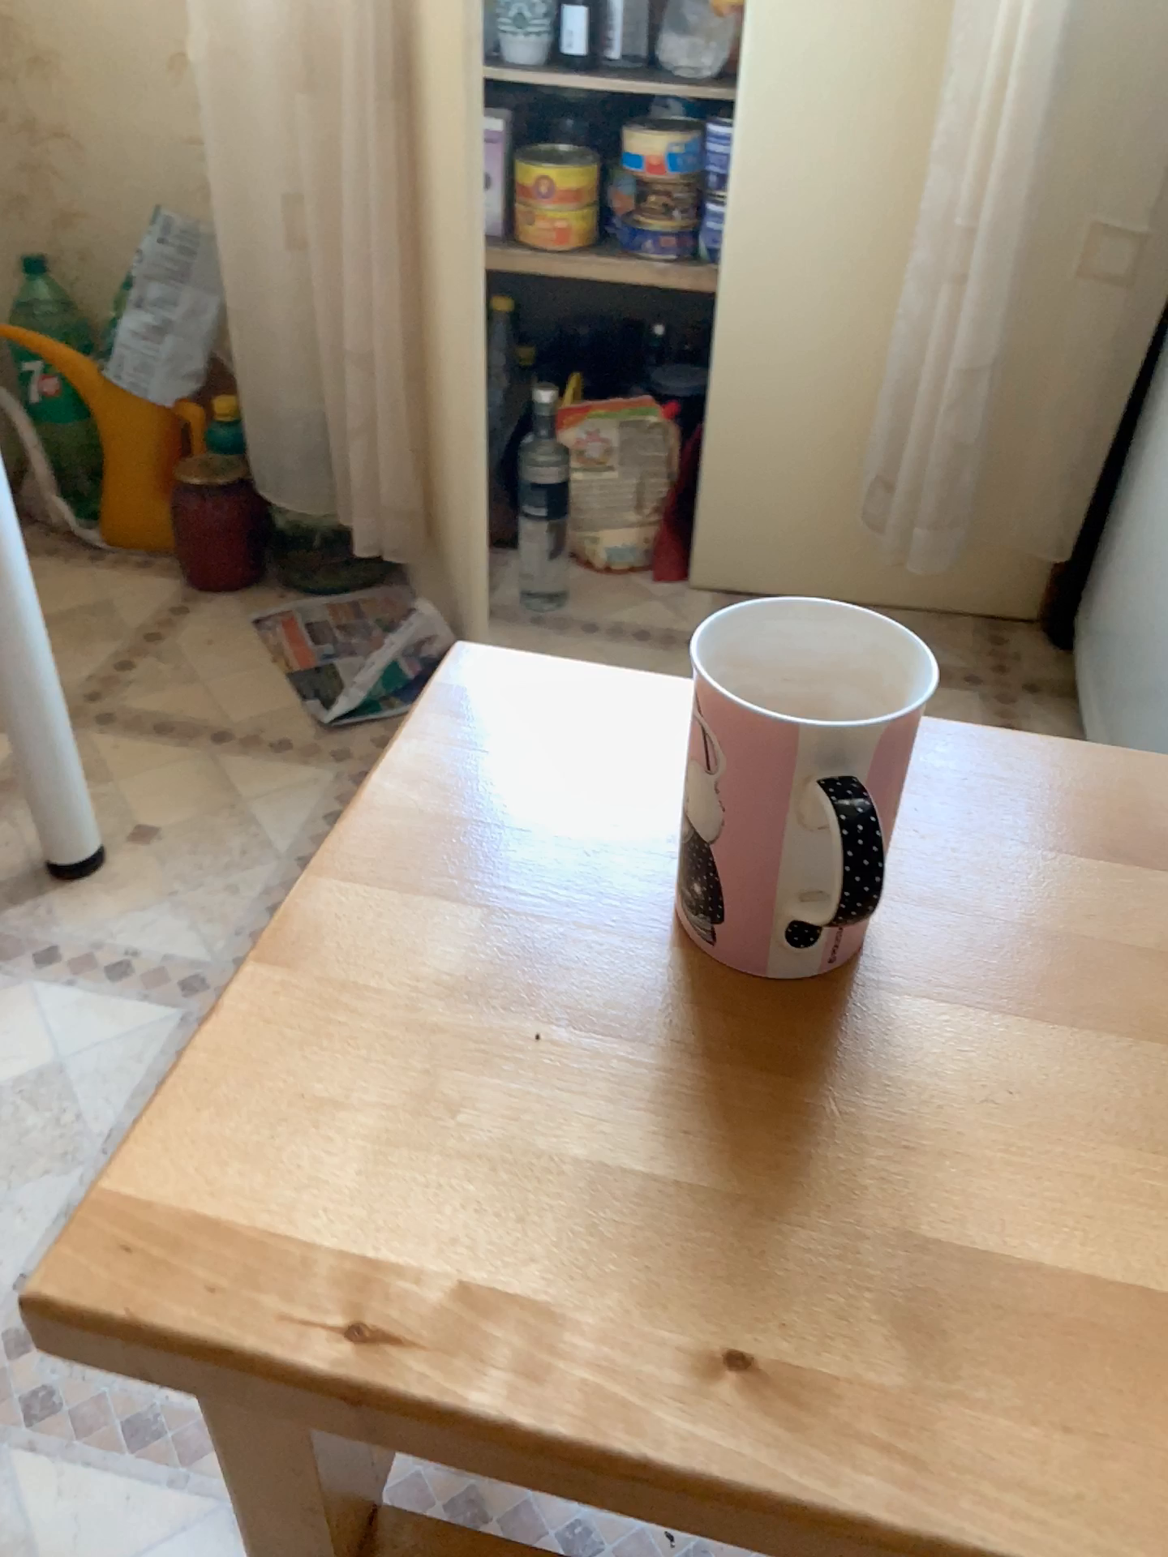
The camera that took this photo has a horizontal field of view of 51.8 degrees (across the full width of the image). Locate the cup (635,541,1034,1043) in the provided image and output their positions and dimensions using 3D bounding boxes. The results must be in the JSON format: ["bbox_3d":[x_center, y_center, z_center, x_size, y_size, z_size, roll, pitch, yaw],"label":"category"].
[{"bbox_3d":[0.068,0.000,0.384,0.074,0.107,0.114,-5,37,-10],"label":"cup"}]
